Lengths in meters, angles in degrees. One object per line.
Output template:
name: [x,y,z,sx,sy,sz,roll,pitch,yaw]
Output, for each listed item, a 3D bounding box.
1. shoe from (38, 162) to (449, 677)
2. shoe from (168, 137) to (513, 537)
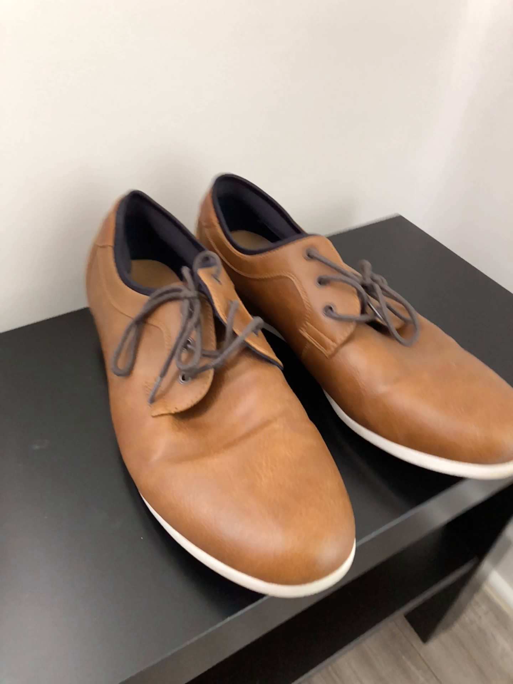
shoe: [-0.035,0.010,0.319,0.104,0.100,0.271,-16,46,-21]
shoe: [0.061,-0.029,0.381,0.104,0.100,0.281,-25,50,-29]
